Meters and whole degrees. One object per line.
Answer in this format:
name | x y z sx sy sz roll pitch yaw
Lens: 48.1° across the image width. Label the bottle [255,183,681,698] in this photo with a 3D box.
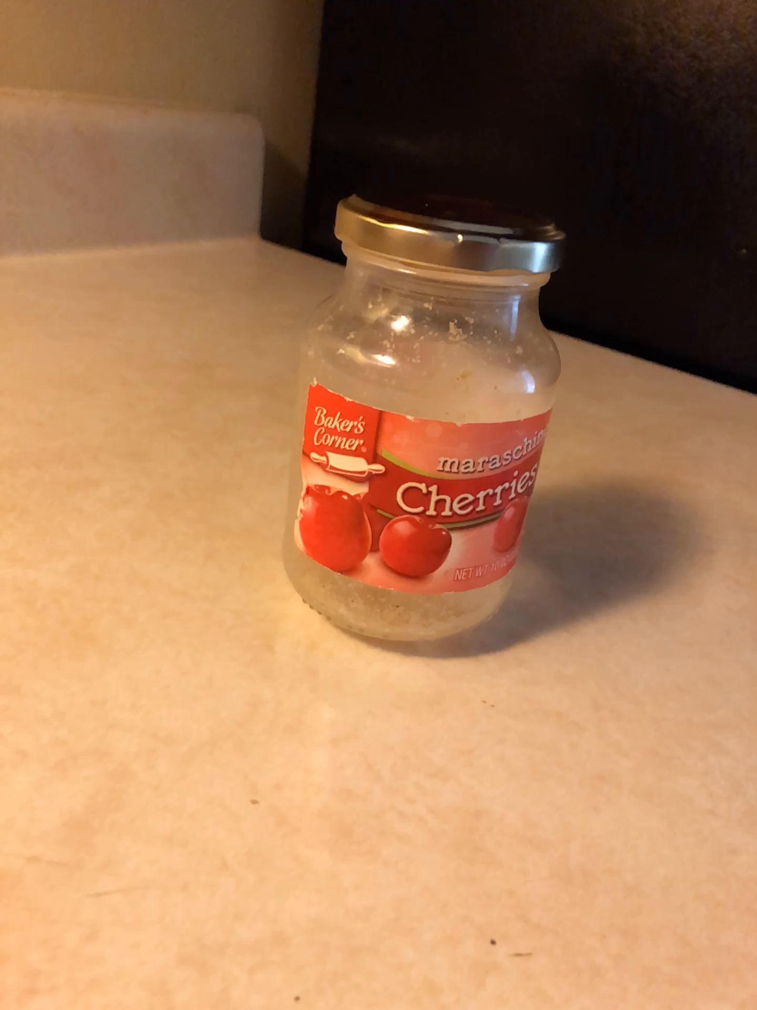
bottle | 0.015 -0.021 0.228 0.070 0.110 0.070 6 26 -3
